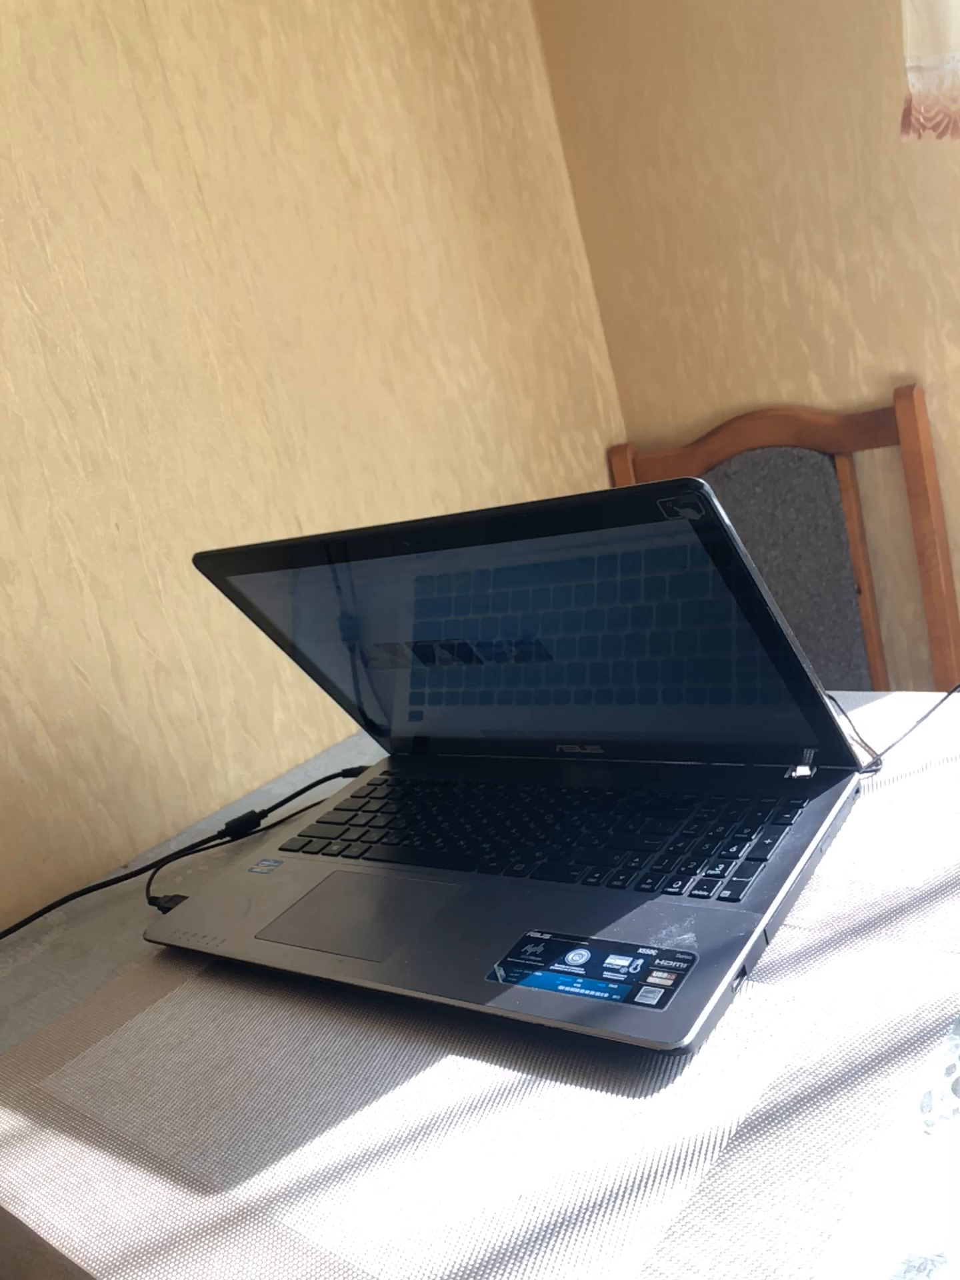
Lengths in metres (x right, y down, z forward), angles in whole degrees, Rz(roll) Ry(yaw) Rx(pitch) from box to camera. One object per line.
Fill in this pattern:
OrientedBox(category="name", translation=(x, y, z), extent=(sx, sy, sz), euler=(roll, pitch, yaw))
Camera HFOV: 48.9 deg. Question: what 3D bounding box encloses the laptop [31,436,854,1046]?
OrientedBox(category="laptop", translation=(-0.023, 0.036, 0.610), extent=(0.369, 0.197, 0.243), euler=(-4, 18, 38))
